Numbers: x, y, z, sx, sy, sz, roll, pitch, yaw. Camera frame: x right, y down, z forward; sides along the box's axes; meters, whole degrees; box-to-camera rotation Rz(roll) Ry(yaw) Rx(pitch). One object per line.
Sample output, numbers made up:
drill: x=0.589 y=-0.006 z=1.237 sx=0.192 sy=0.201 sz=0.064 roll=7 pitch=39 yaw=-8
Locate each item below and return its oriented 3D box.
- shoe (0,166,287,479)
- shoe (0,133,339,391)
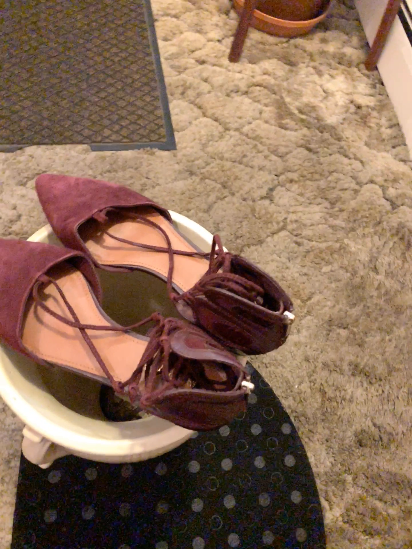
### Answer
shoe: x=-0.095 y=0.025 z=0.303 sx=0.280 sy=0.070 sz=0.091 roll=25 pitch=62 yaw=14
shoe: x=-0.044 y=-0.025 z=0.360 sx=0.280 sy=0.070 sz=0.090 roll=28 pitch=61 yaw=23
